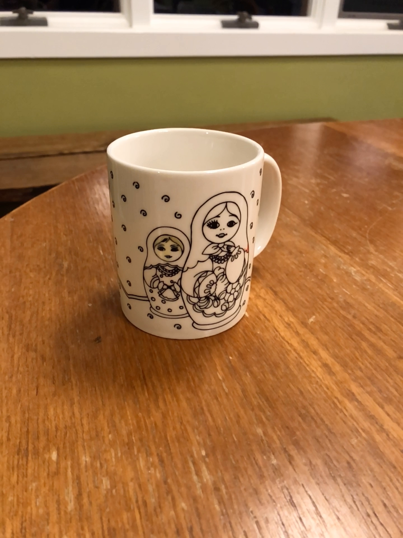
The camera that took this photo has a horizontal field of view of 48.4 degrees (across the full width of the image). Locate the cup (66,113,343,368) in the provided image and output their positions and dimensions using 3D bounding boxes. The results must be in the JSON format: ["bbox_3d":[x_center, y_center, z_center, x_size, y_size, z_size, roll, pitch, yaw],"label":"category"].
[{"bbox_3d":[0.002,-0.028,0.273,0.127,0.099,0.088,-21,37,-32],"label":"cup"}]
